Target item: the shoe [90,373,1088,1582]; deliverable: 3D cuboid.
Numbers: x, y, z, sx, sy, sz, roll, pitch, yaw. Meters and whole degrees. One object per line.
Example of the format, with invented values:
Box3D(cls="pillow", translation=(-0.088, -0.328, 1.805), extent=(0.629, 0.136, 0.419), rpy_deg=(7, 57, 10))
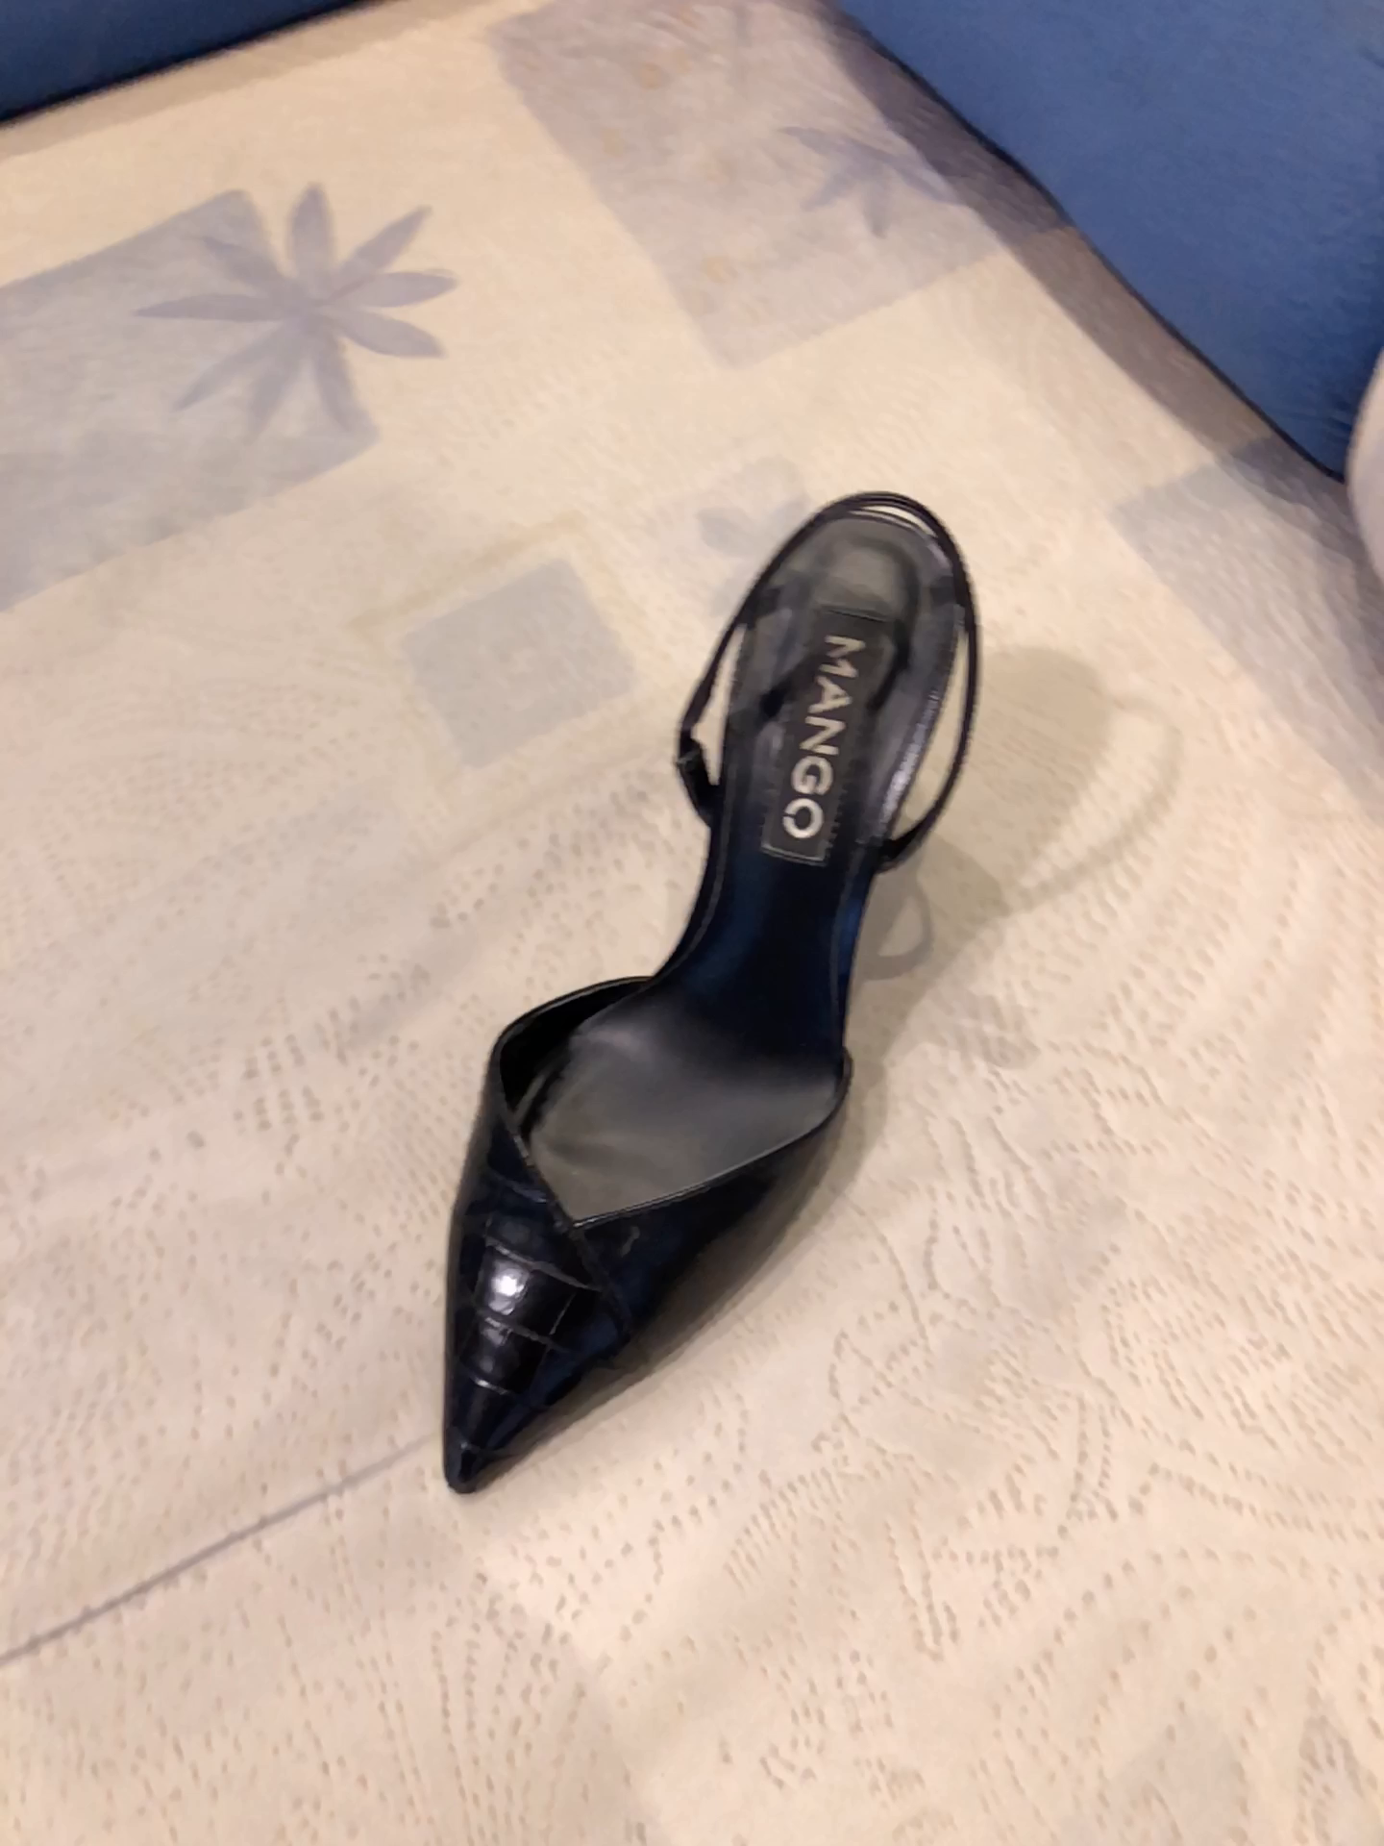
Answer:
Box3D(cls="shoe", translation=(-0.007, 0.011, 0.366), extent=(0.100, 0.129, 0.241), rpy_deg=(24, 65, 13))
